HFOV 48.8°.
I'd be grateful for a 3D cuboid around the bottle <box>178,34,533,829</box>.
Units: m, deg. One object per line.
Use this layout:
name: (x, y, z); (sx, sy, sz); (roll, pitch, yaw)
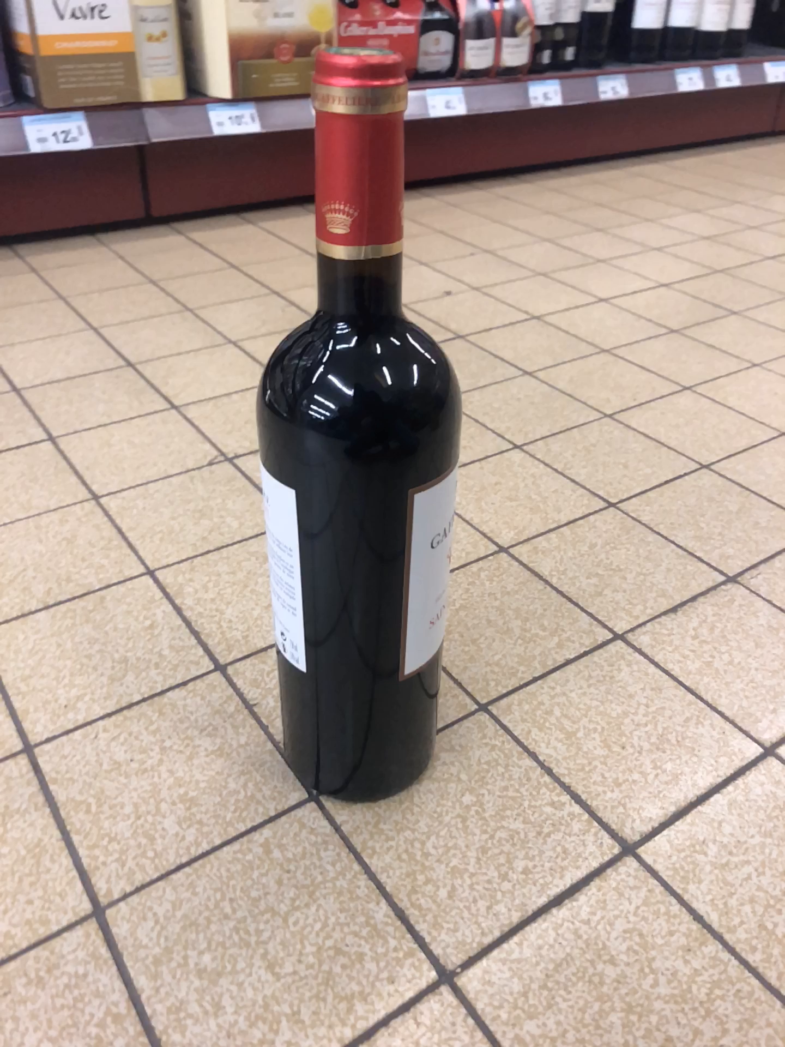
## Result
bottle: (-0.009, -0.019, 0.334); (0.090, 0.287, 0.091); (2, 33, -1)
